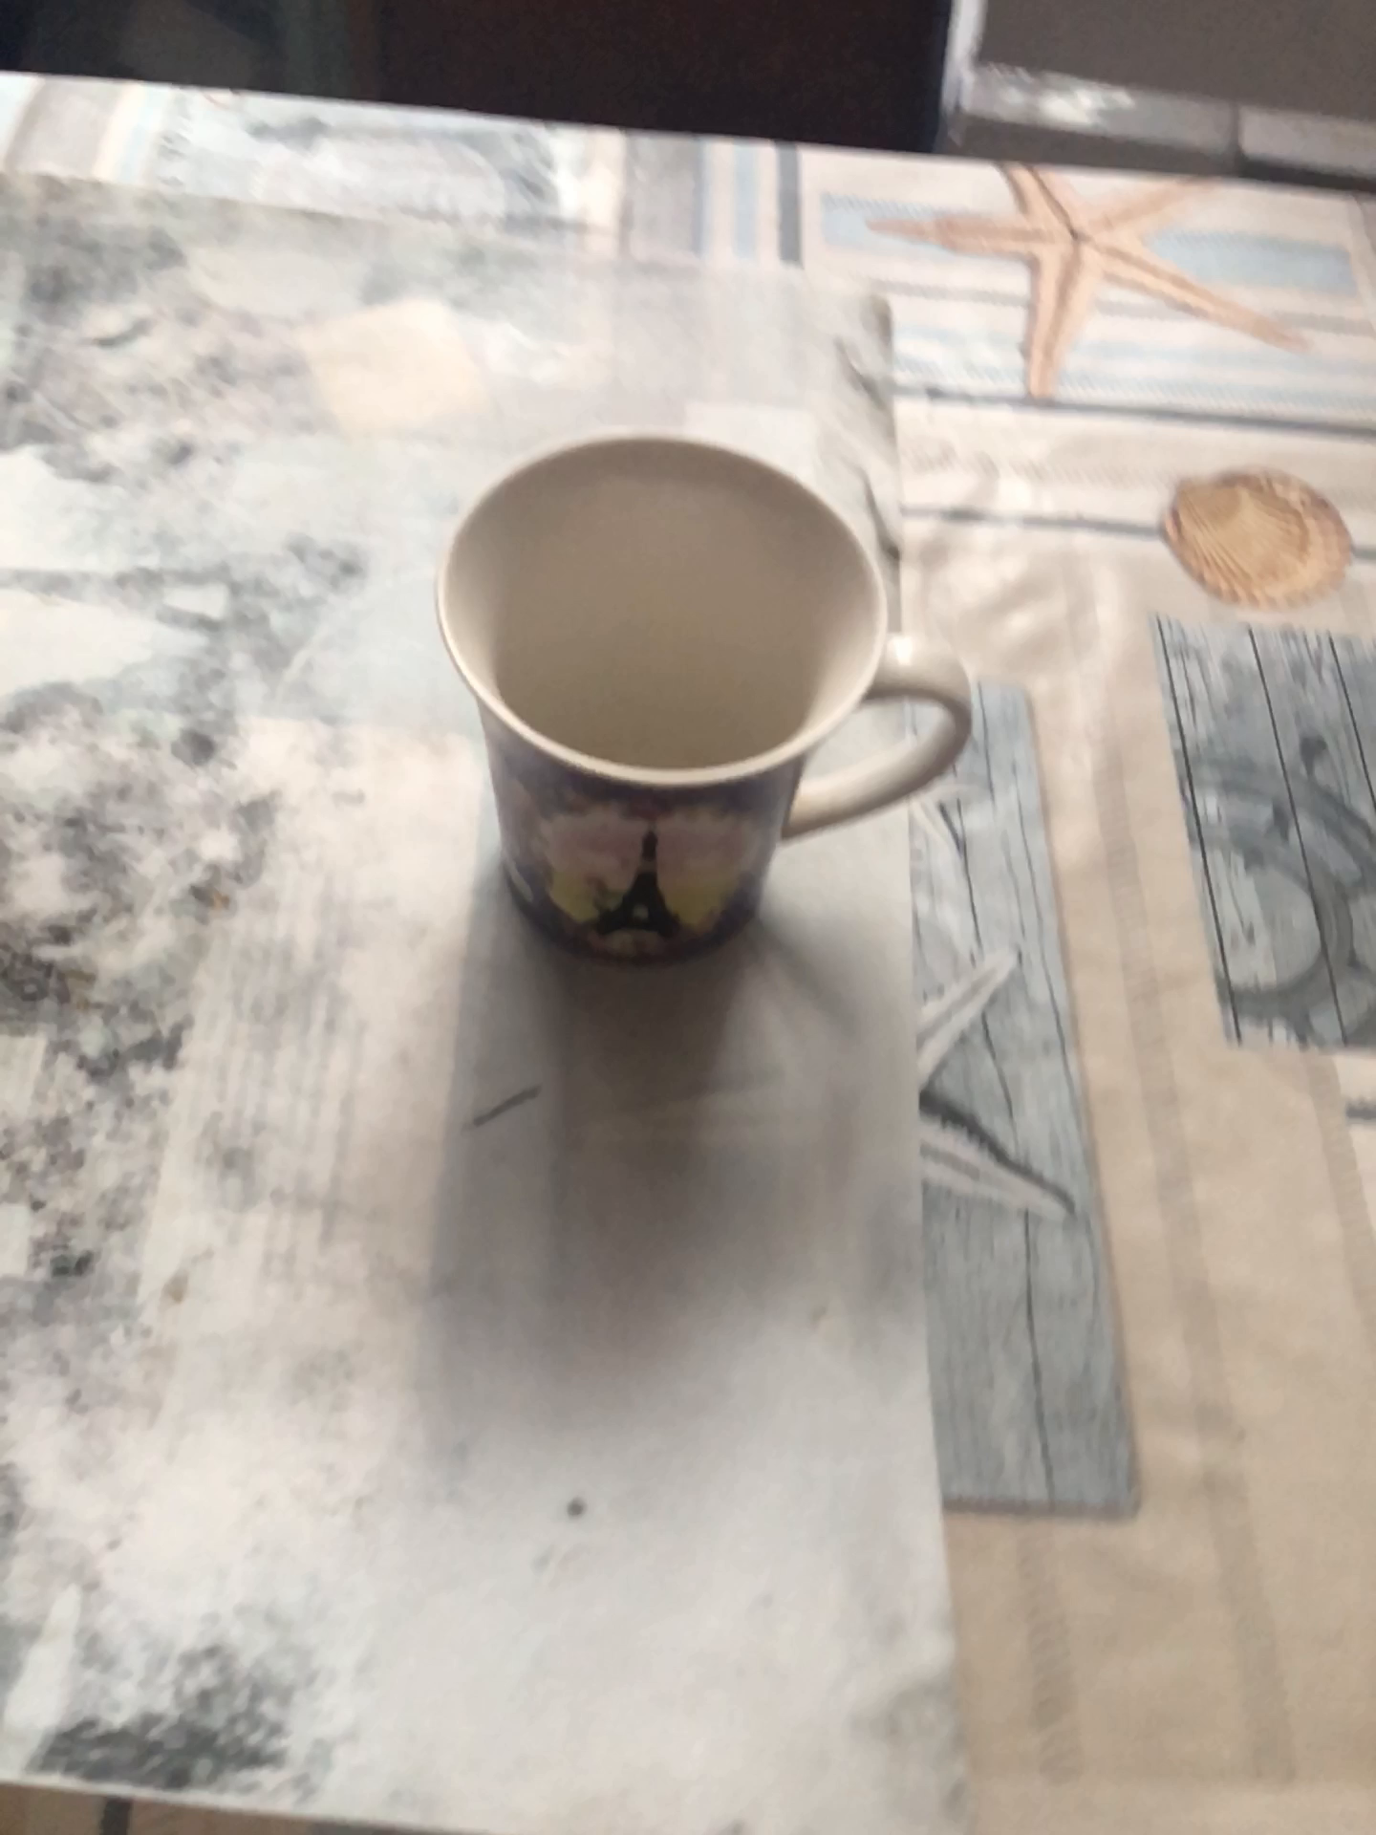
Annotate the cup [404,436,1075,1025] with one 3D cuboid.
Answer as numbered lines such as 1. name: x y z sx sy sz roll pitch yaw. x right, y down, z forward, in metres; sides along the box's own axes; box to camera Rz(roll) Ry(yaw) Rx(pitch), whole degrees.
1. cup: 0.003 -0.039 0.328 0.120 0.085 0.090 -2 60 -7
